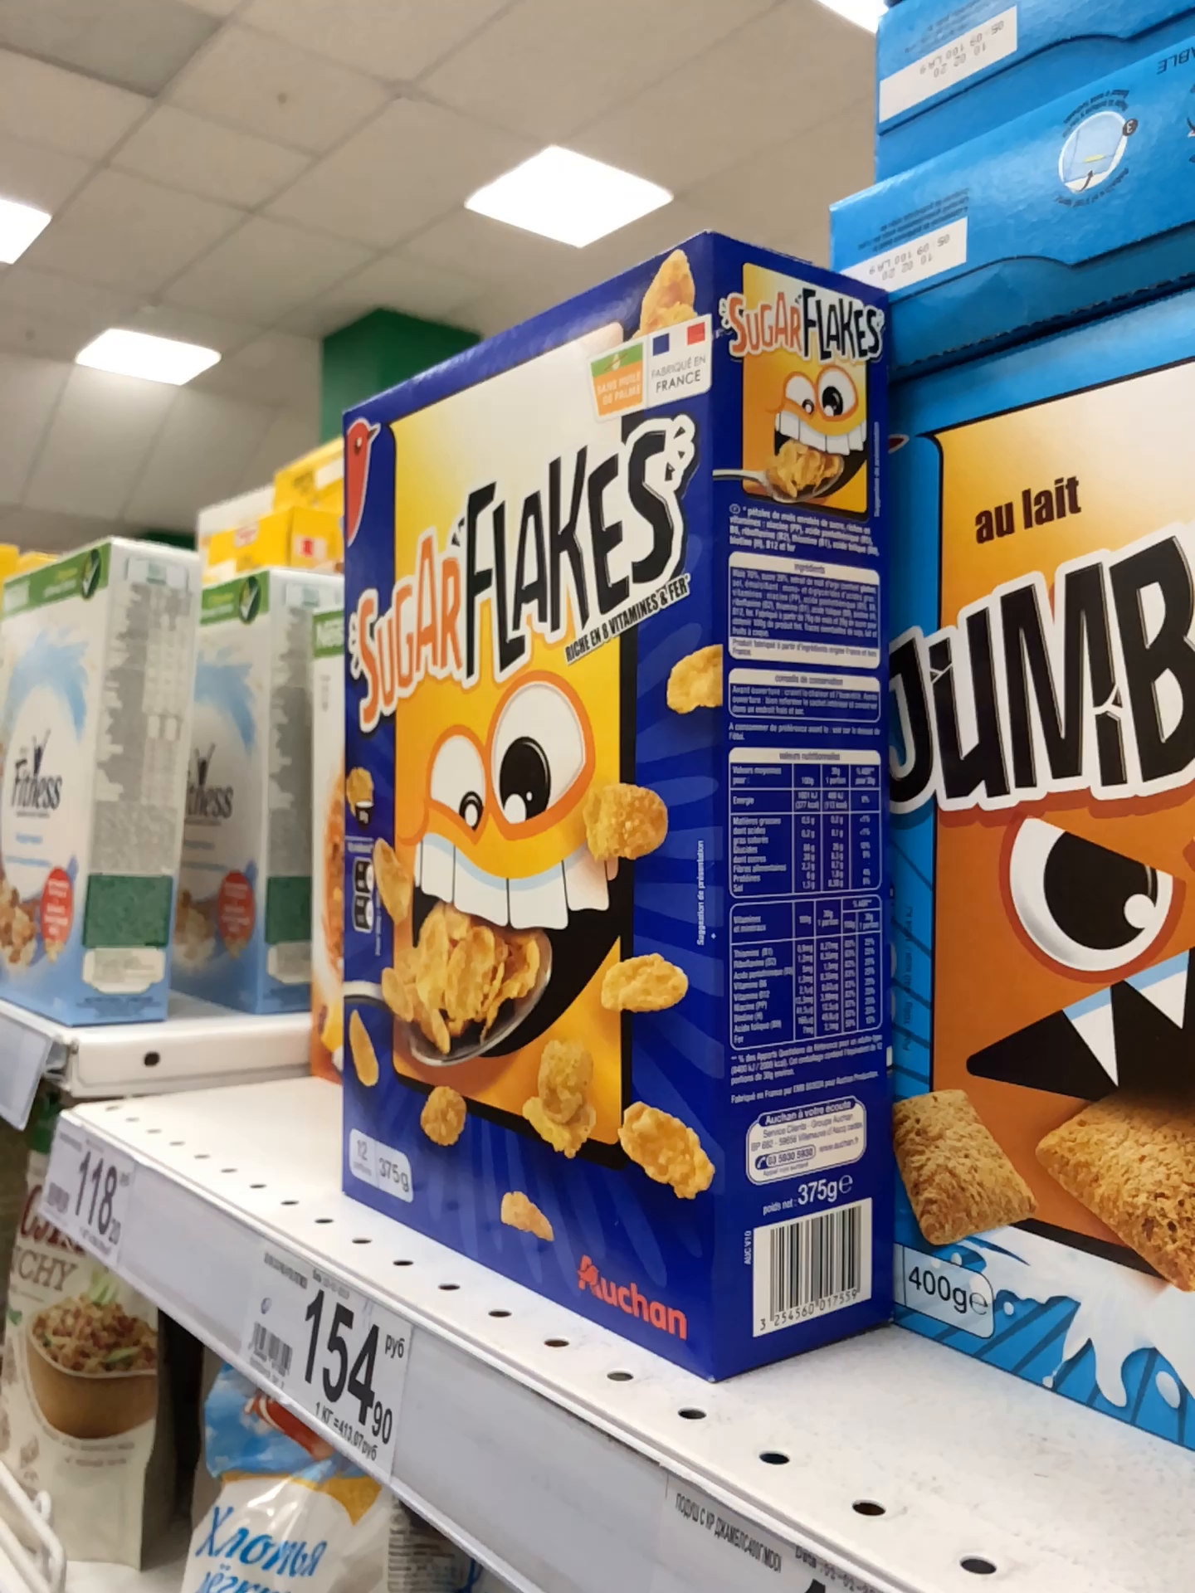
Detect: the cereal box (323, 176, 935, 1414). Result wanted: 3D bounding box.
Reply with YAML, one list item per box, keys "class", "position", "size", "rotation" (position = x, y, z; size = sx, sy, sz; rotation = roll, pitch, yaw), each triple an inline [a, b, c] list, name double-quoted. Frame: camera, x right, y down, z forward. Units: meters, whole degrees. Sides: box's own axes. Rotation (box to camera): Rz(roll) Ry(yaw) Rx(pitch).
- class: "cereal box"
  position: [-0.003, -0.002, 0.401]
  size: [0.070, 0.280, 0.200]
  rotation: [2, -1, -38]
